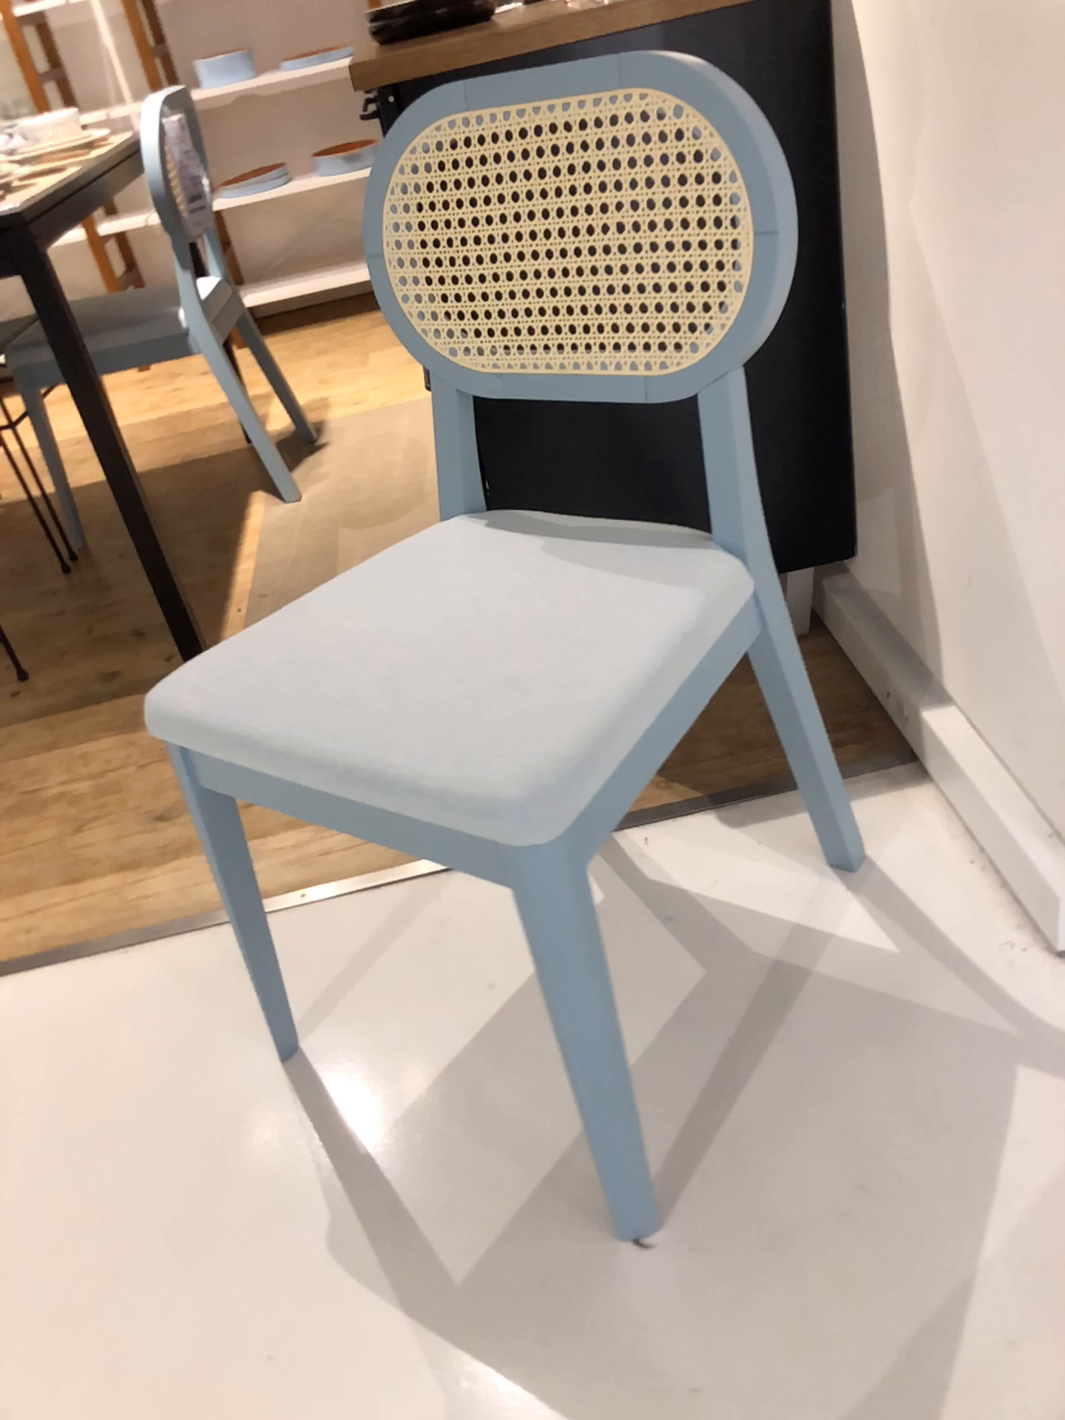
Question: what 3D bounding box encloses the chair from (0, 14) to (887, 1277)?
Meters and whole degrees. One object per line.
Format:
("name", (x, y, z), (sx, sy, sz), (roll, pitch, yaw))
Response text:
("chair", (-0.038, -0.074, 1.054), (0.481, 0.824, 0.563), (13, 40, 36))
